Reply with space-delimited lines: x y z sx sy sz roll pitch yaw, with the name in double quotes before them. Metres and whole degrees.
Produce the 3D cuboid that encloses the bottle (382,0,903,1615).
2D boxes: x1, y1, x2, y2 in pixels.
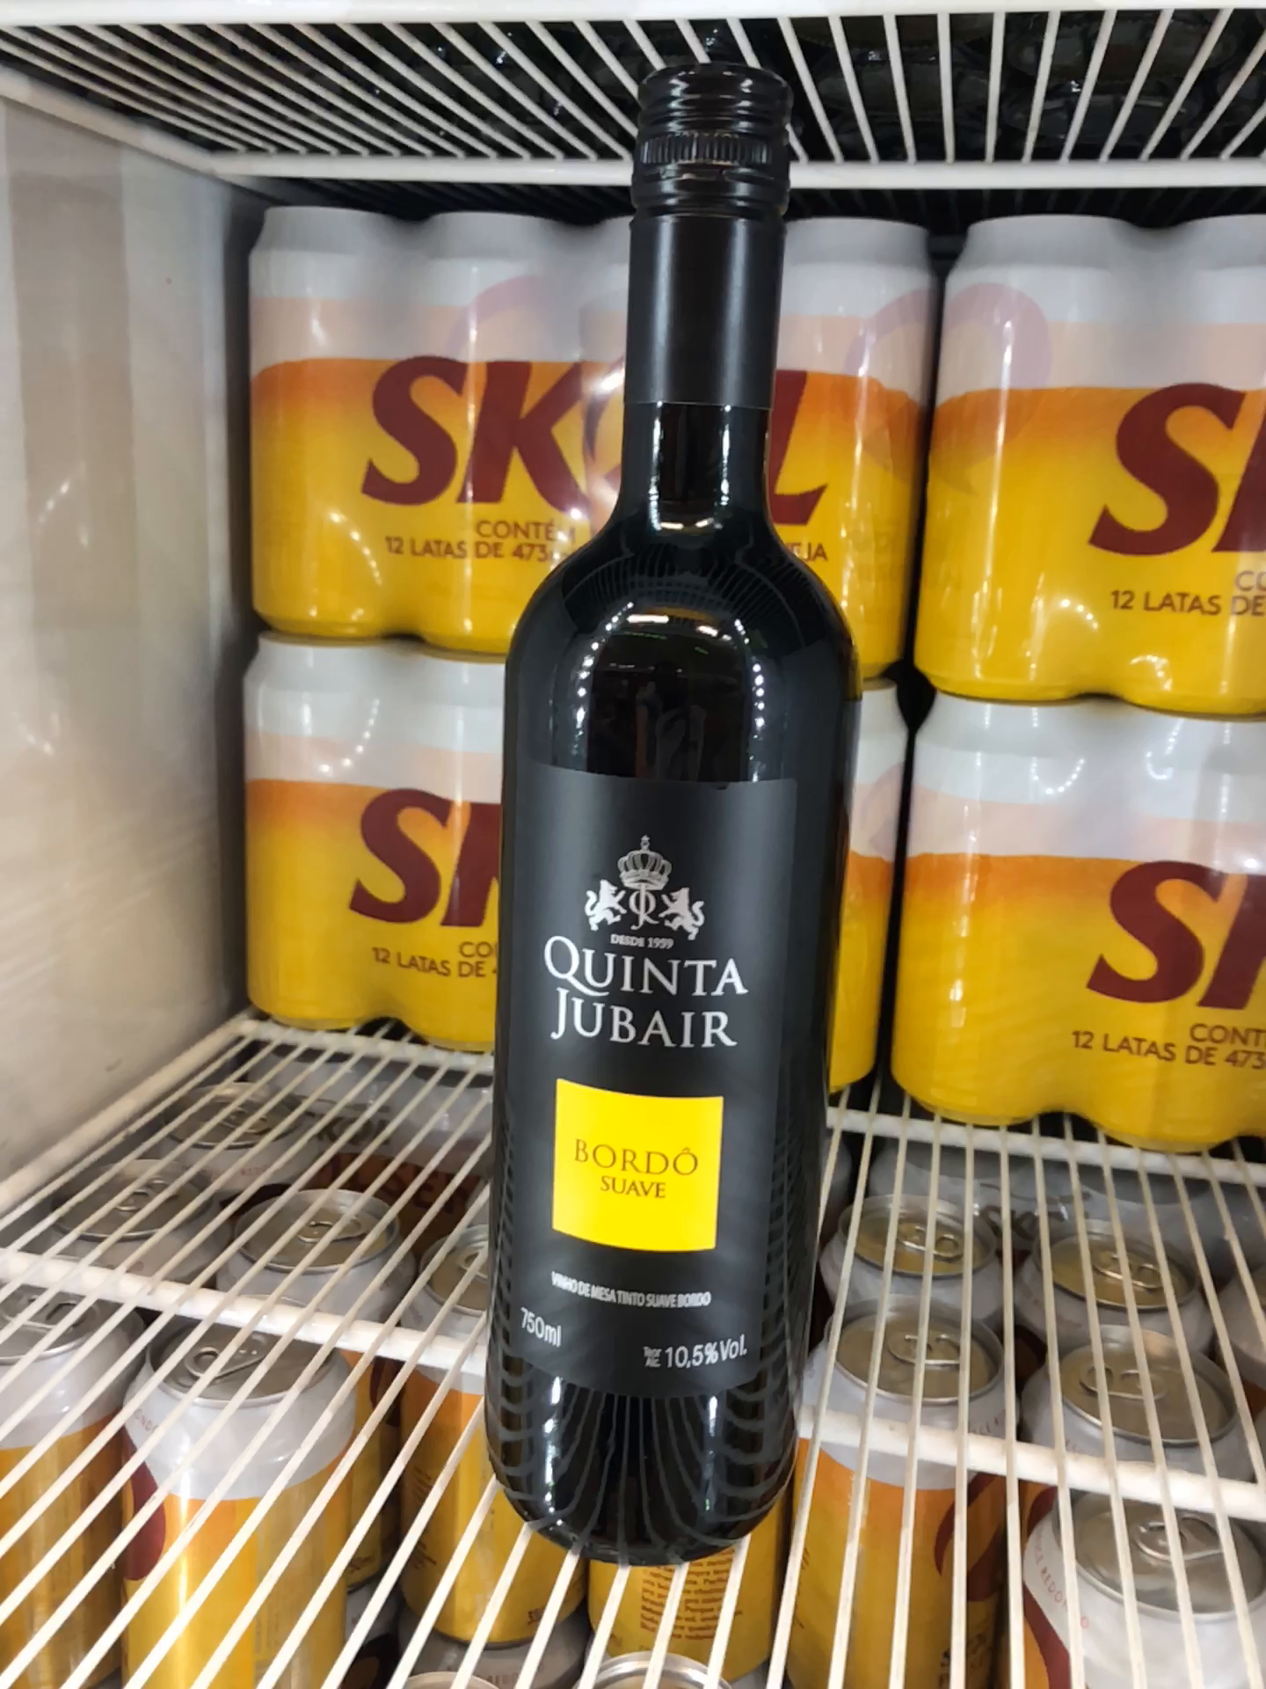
"bottle" 0.002 -0.001 0.284 0.080 0.289 0.070 5 14 12
